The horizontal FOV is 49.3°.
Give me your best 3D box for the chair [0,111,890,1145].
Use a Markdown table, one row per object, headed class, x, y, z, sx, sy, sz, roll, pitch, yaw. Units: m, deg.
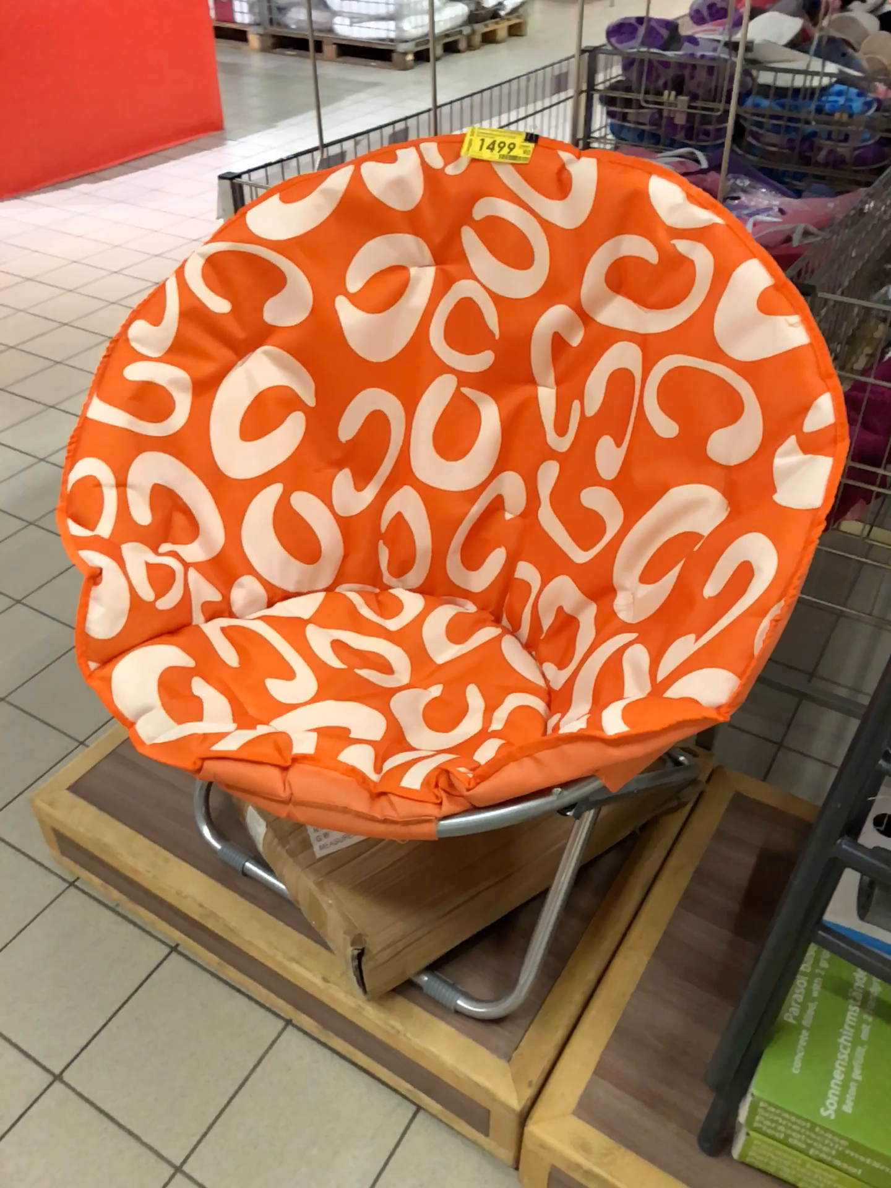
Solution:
| class | x | y | z | sx | sy | sz | roll | pitch | yaw |
| --- | --- | --- | --- | --- | --- | --- | --- | --- | --- |
| chair | 0.019 | -0.078 | 1.046 | 0.735 | 0.606 | 0.714 | 23 | 43 | 27 |
